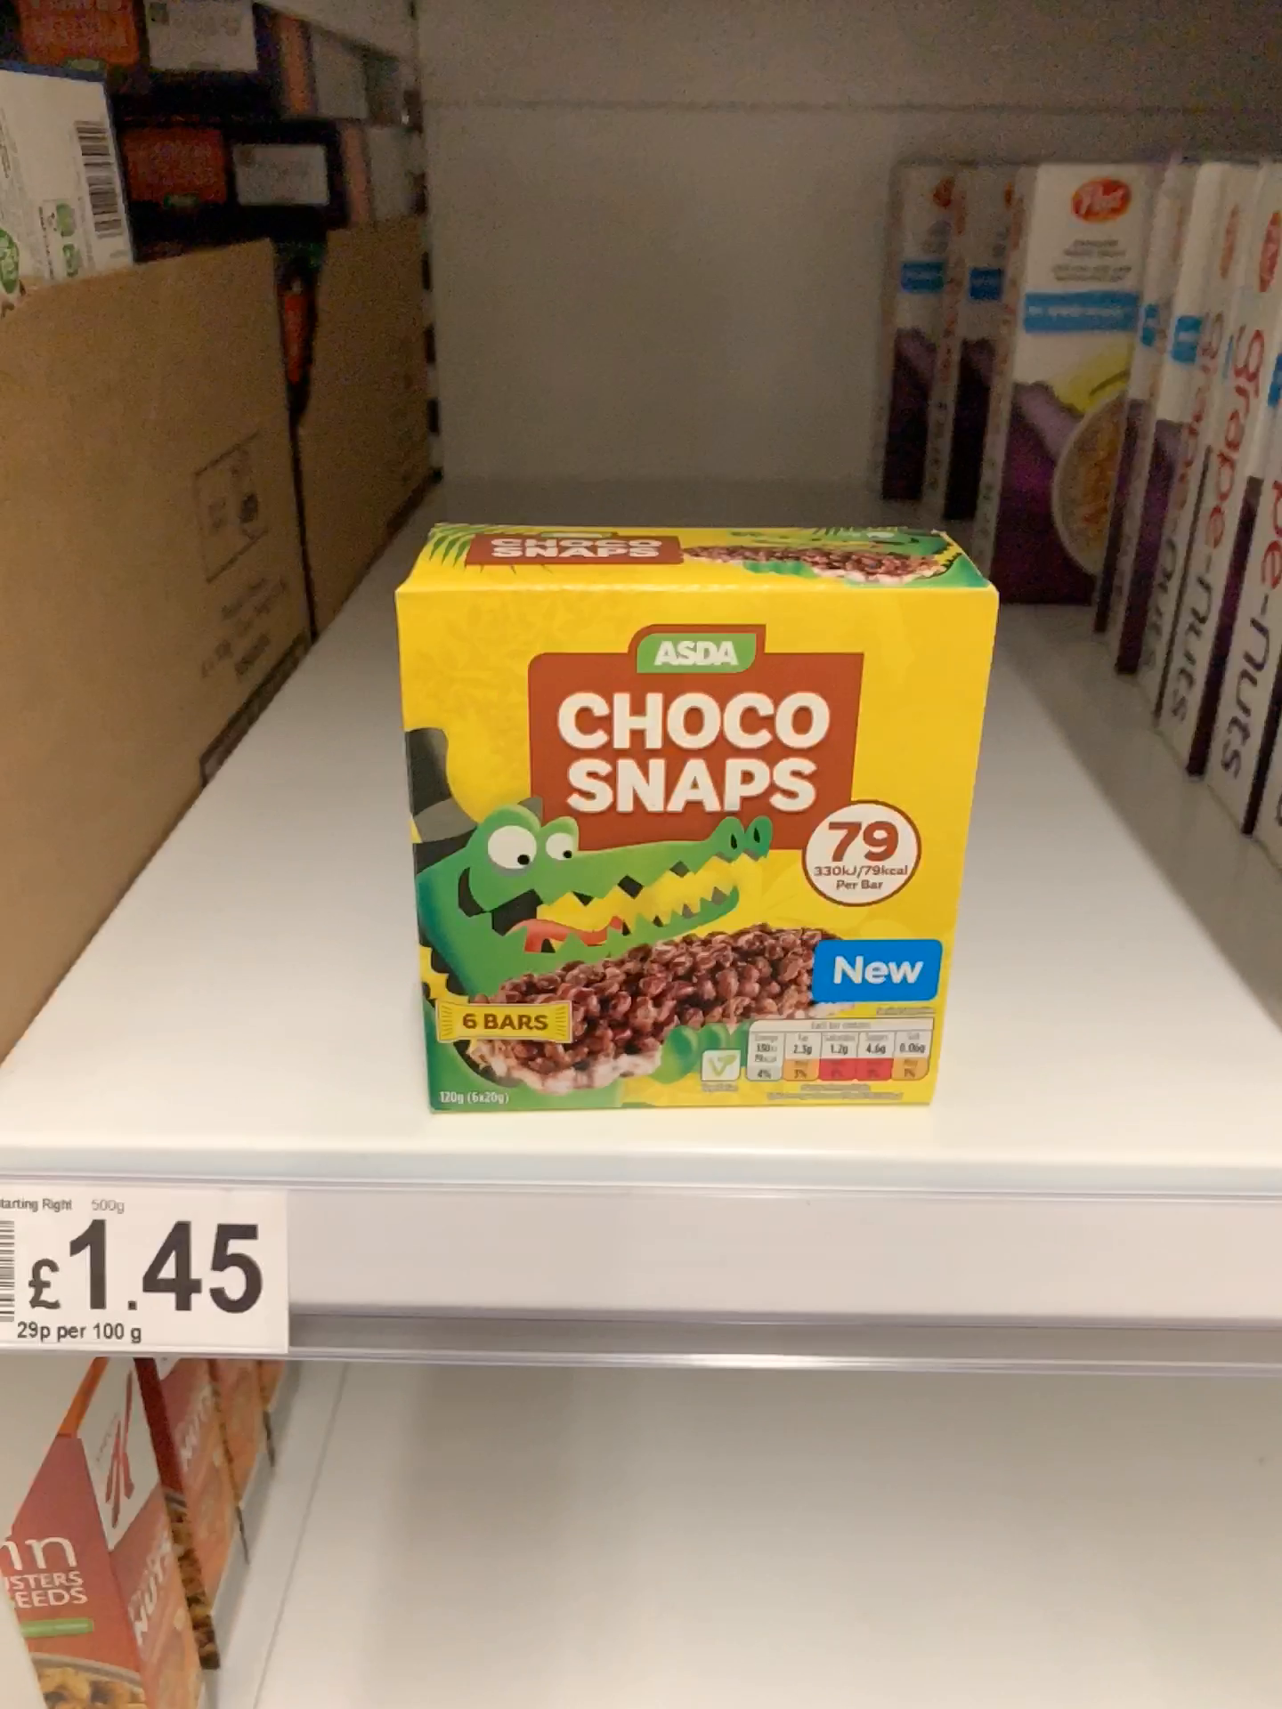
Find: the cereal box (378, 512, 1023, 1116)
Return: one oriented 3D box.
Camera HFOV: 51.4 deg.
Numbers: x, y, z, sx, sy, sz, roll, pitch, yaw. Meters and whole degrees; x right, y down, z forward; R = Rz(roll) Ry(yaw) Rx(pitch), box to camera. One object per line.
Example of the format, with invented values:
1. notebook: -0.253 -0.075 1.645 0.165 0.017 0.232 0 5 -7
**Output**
1. cereal box: 0.011 -0.011 0.328 0.130 0.129 0.071 -1 27 -2
